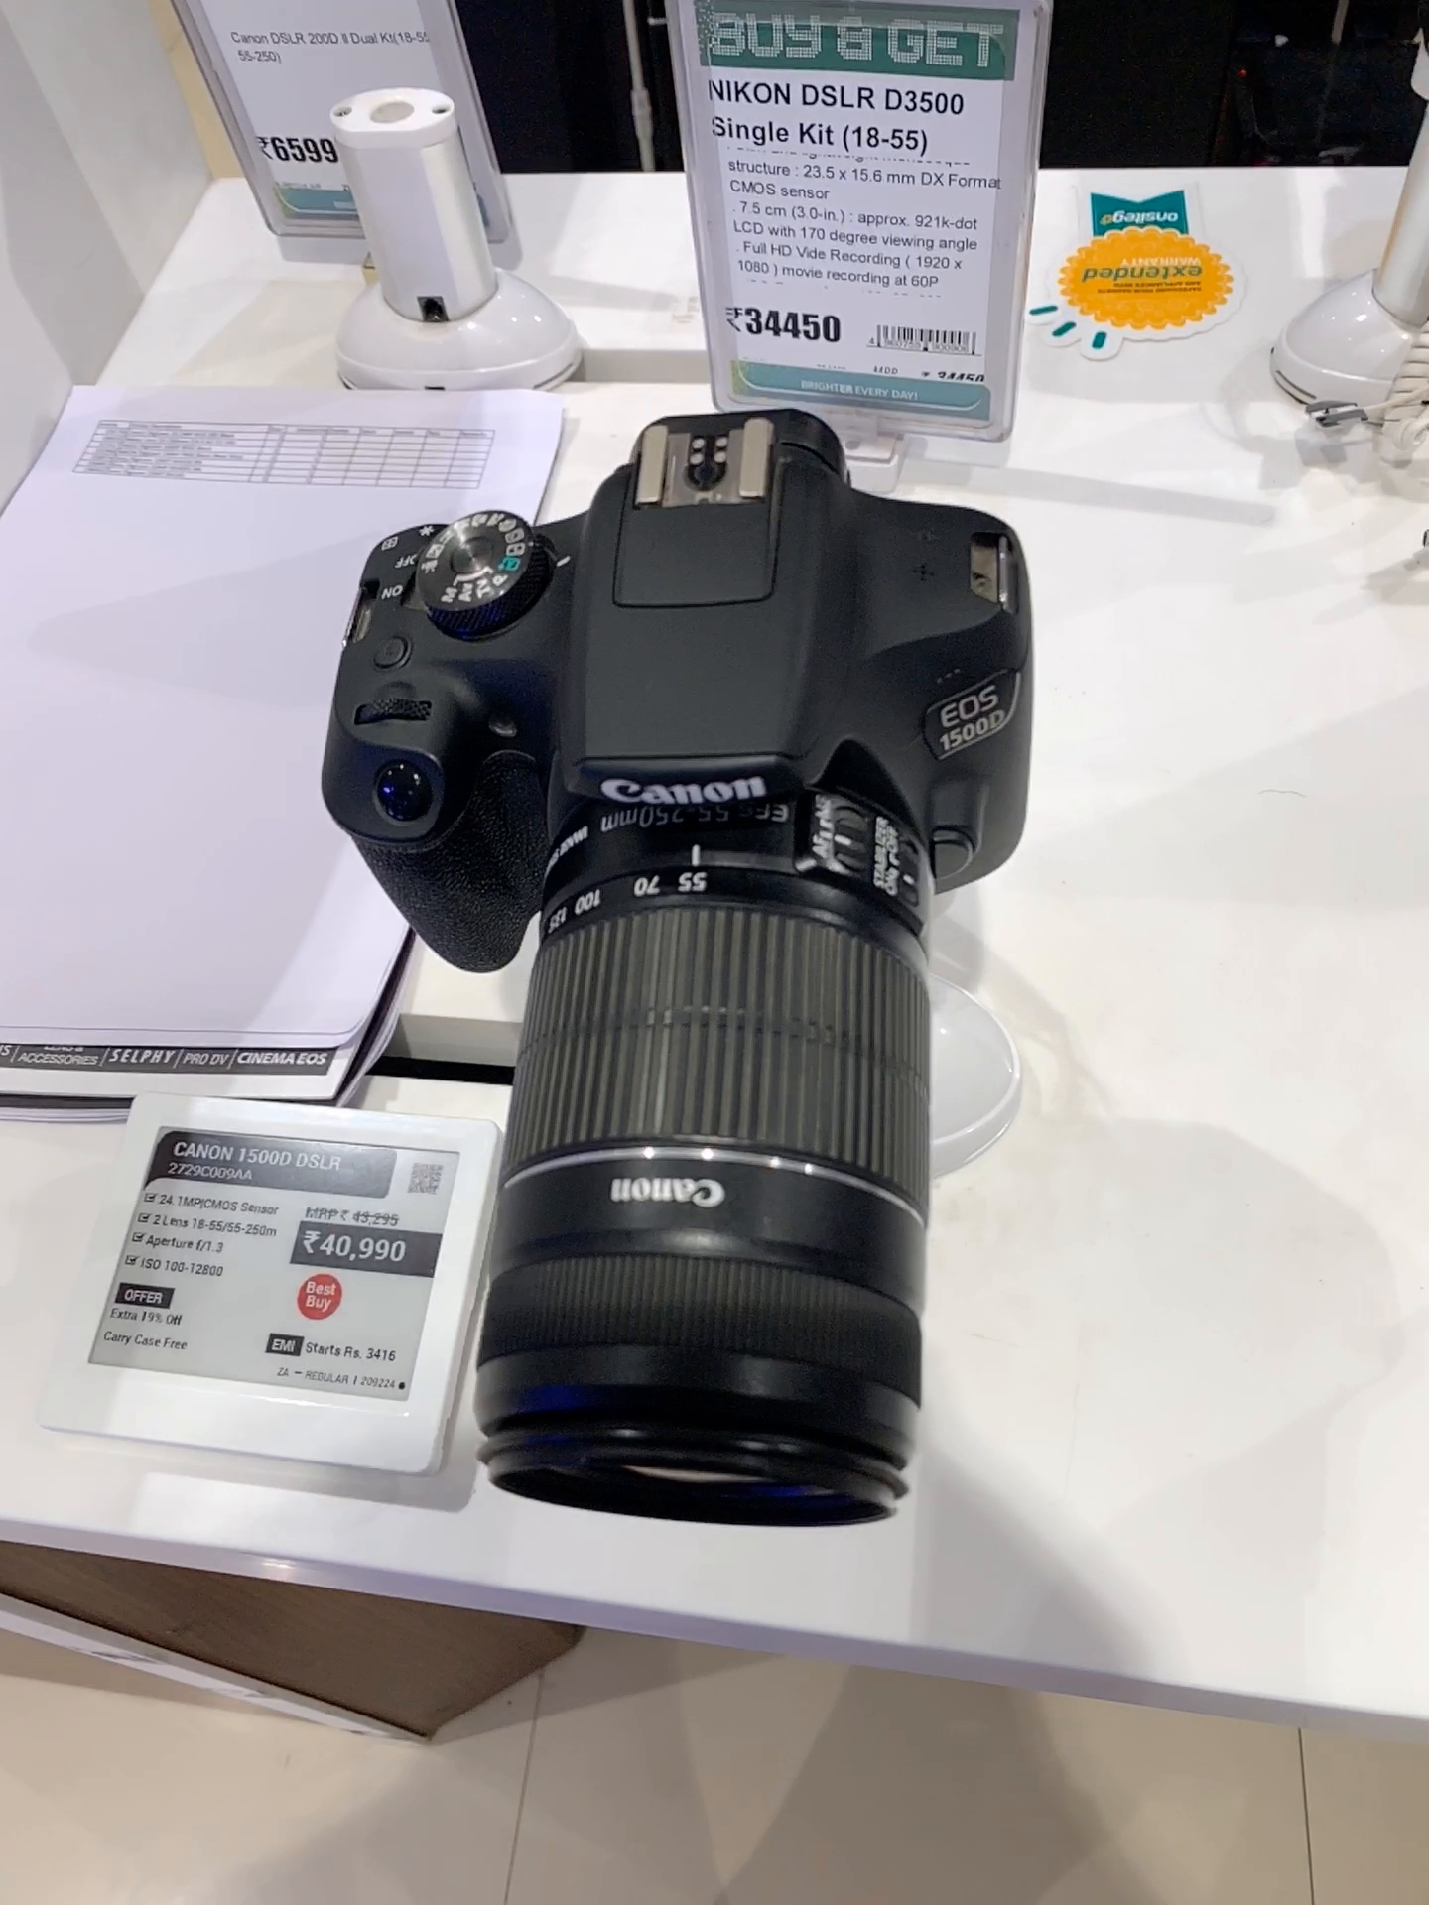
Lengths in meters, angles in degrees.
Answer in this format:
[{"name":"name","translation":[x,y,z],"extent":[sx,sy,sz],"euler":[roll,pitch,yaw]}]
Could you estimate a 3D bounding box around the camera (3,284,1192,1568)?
[{"name":"camera","translation":[-0.004,-0.011,0.246],"extent":[0.130,0.090,0.190],"euler":[1,57,7]}]
